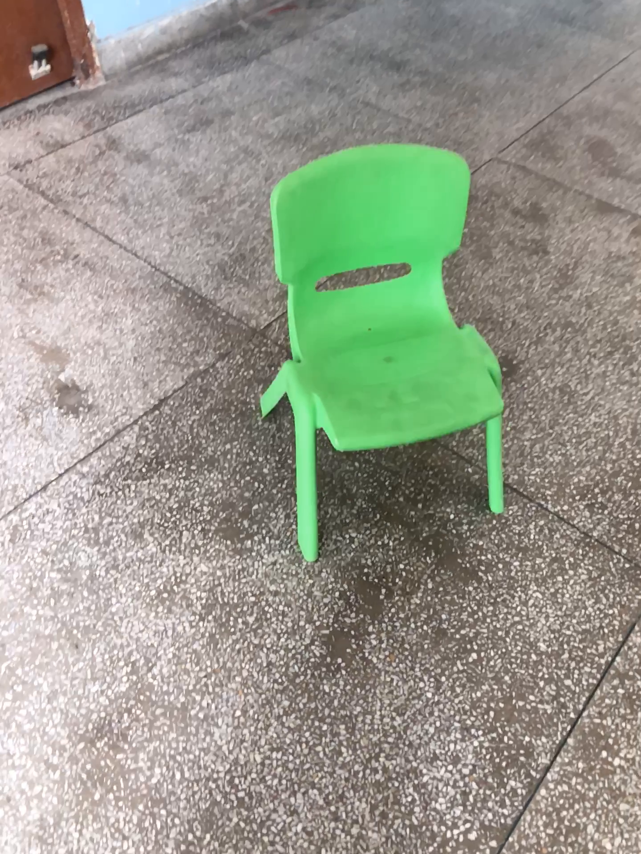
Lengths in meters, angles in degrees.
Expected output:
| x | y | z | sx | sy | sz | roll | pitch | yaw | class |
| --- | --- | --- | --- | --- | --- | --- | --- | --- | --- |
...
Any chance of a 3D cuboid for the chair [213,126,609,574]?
| x | y | z | sx | sy | sz | roll | pitch | yaw | class |
| --- | --- | --- | --- | --- | --- | --- | --- | --- | --- |
| 0.085 | -0.108 | 1.052 | 0.370 | 0.459 | 0.391 | -13 | 52 | -12 | chair |
